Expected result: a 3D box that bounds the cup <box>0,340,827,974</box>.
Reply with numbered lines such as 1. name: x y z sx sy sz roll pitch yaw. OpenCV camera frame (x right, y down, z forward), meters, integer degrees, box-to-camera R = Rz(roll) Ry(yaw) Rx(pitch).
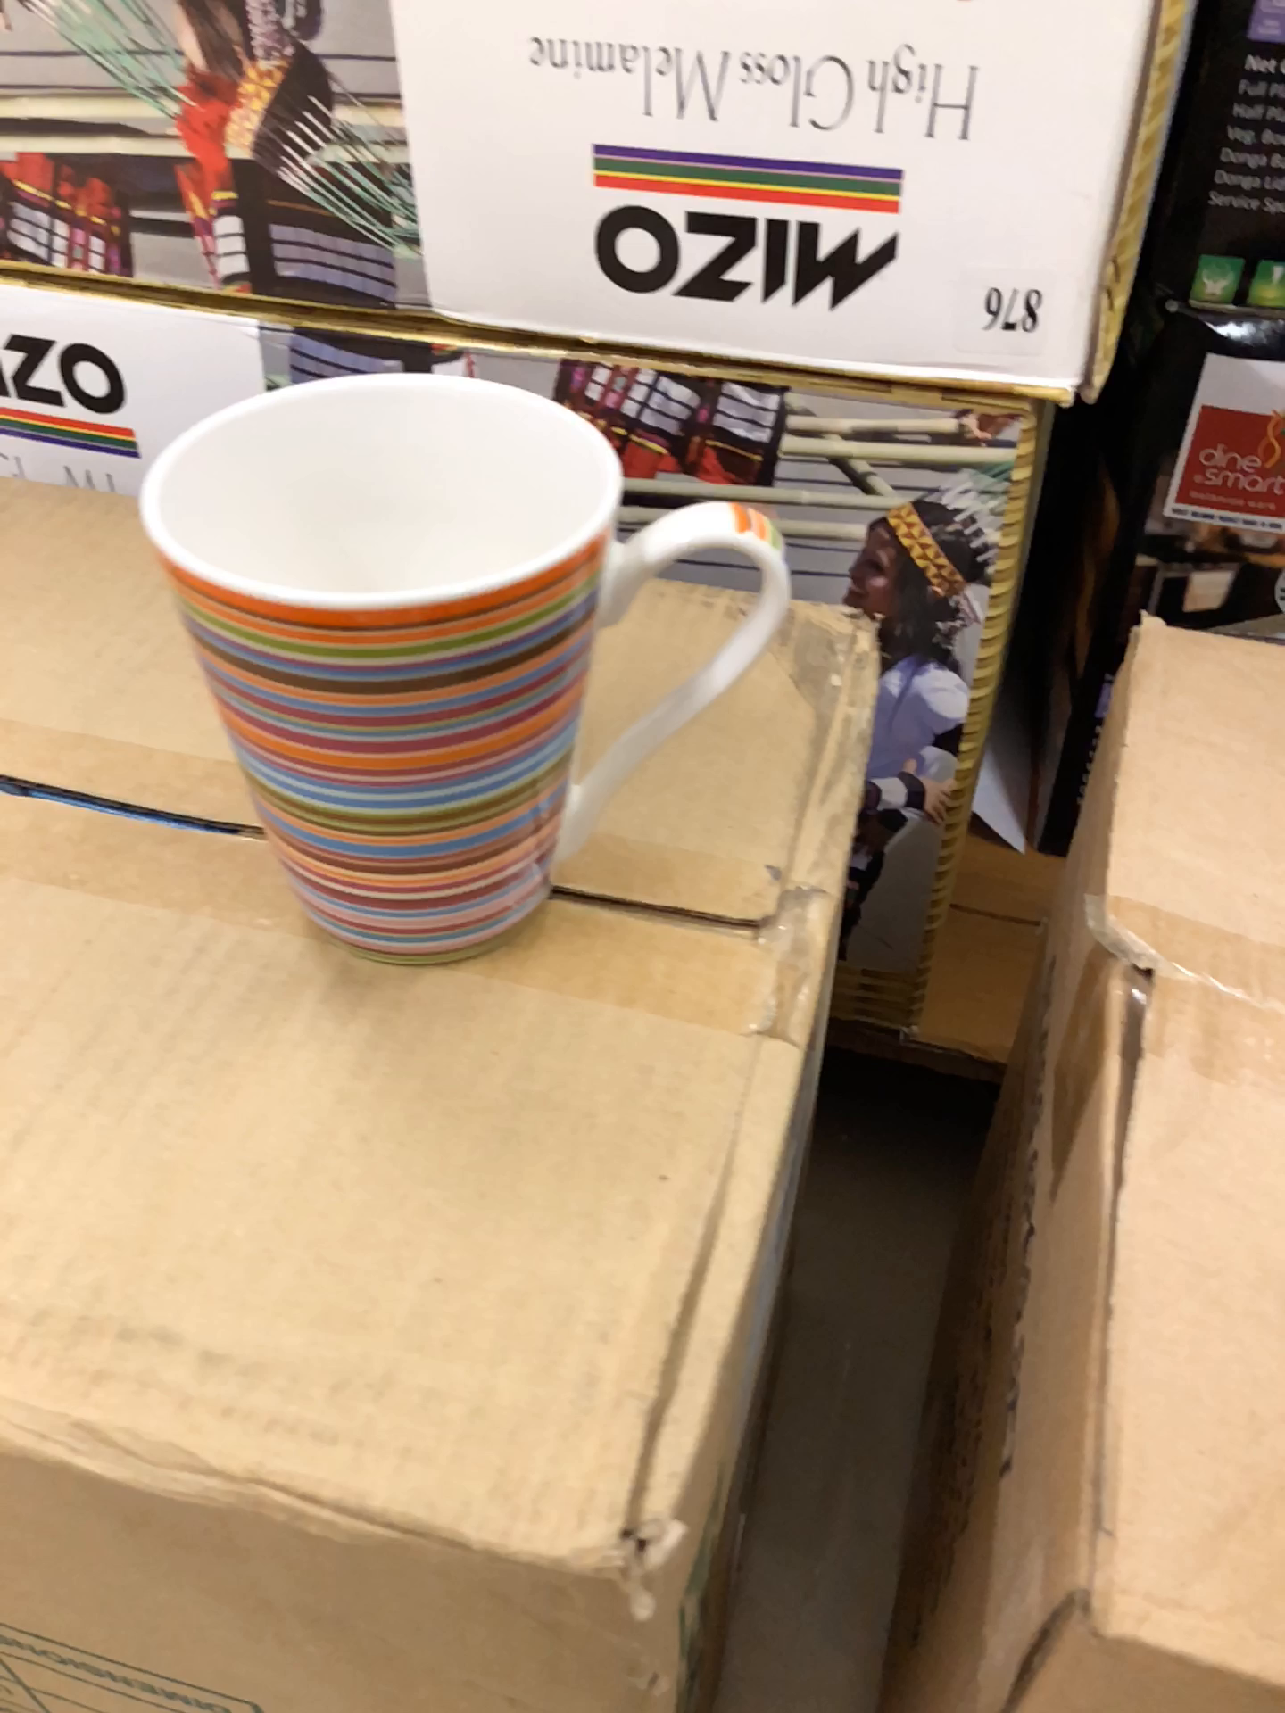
1. cup: -0.039 -0.040 0.278 0.130 0.089 0.081 -2 43 -3
